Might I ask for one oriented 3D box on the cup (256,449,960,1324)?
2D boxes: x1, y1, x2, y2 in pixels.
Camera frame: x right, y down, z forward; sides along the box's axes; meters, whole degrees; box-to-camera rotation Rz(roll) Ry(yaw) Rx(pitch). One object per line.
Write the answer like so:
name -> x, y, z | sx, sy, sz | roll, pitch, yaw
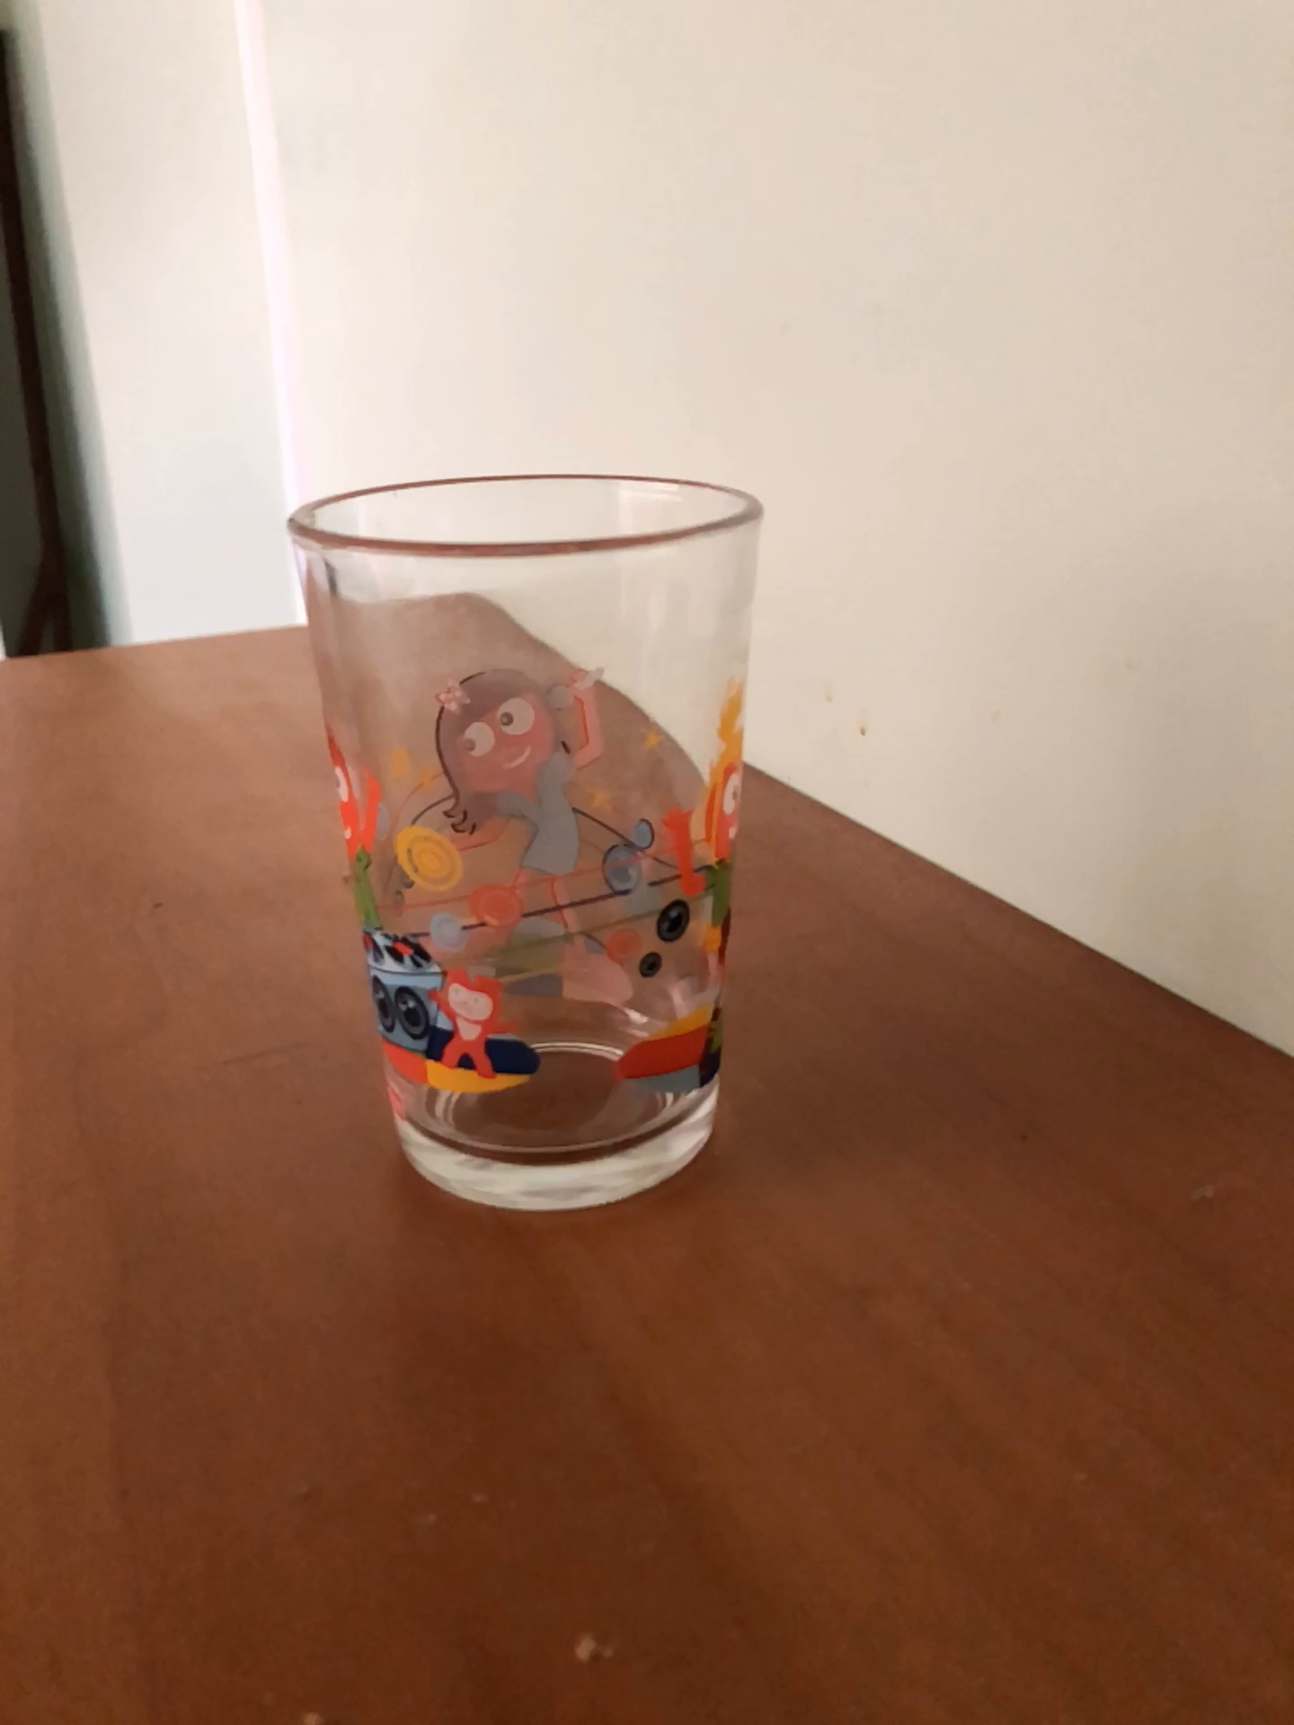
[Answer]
cup -> -0.007, -0.005, 0.213 | 0.070, 0.100, 0.070 | -1, 21, 0
